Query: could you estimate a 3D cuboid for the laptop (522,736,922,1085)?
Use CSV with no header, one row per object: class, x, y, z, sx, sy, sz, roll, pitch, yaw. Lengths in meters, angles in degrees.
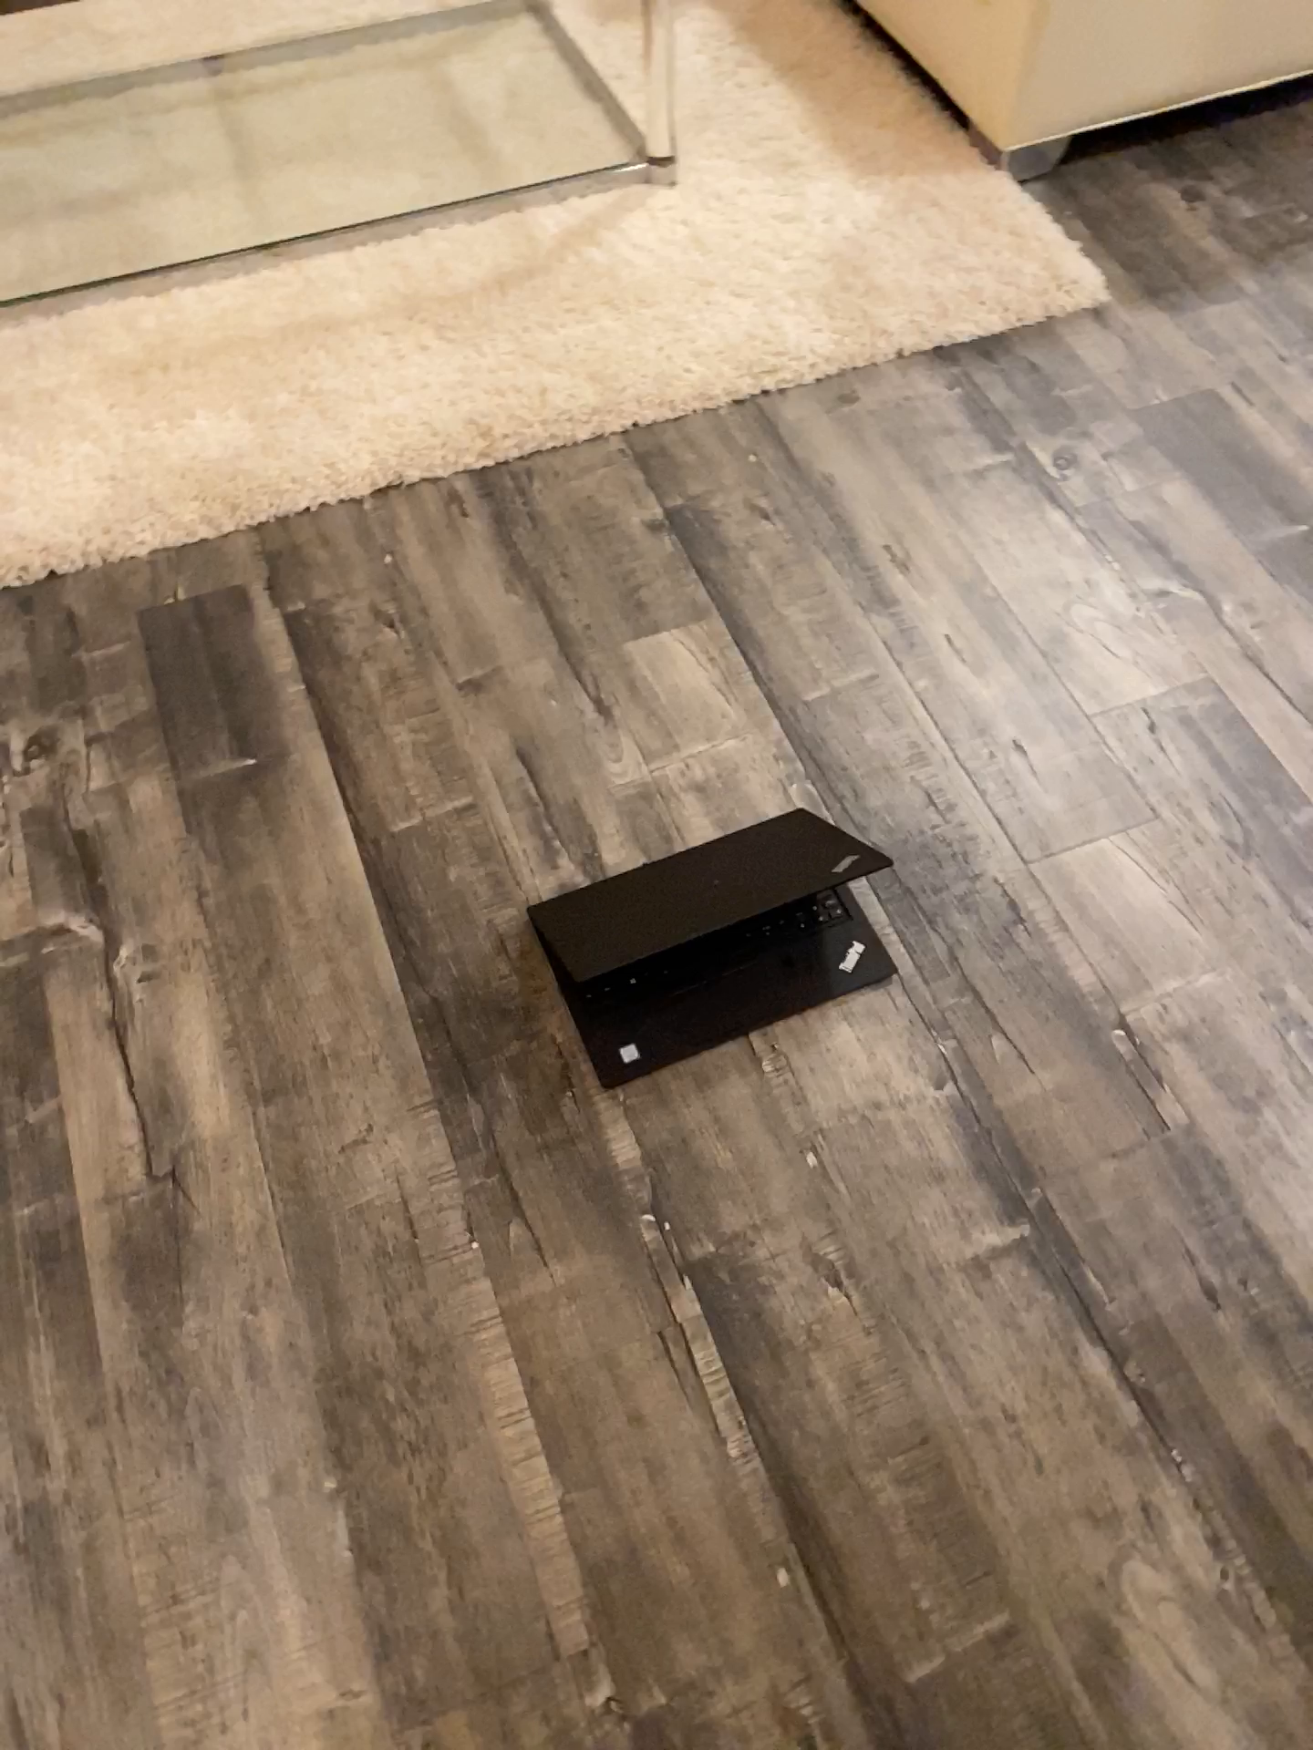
laptop,0.059,0.030,1.309,0.315,0.124,0.219,-20,59,-12
